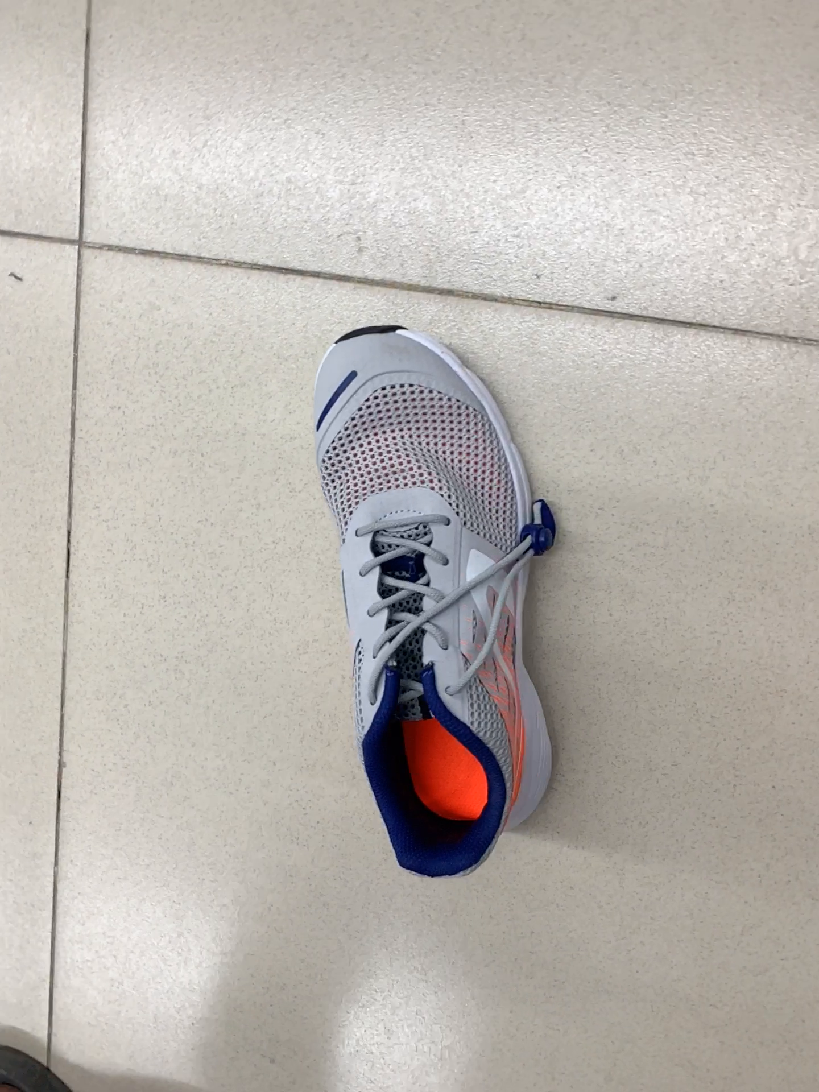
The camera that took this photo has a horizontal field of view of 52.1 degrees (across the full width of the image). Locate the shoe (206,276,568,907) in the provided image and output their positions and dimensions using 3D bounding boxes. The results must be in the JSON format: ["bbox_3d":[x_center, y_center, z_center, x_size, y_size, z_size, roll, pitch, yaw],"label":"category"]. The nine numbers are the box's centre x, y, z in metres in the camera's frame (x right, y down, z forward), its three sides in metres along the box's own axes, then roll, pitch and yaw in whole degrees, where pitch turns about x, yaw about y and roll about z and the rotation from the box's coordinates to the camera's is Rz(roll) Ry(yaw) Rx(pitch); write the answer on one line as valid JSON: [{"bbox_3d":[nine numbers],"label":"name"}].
[{"bbox_3d":[0.002,0.021,0.380,0.100,0.100,0.250,-7,101,15],"label":"shoe"}]
